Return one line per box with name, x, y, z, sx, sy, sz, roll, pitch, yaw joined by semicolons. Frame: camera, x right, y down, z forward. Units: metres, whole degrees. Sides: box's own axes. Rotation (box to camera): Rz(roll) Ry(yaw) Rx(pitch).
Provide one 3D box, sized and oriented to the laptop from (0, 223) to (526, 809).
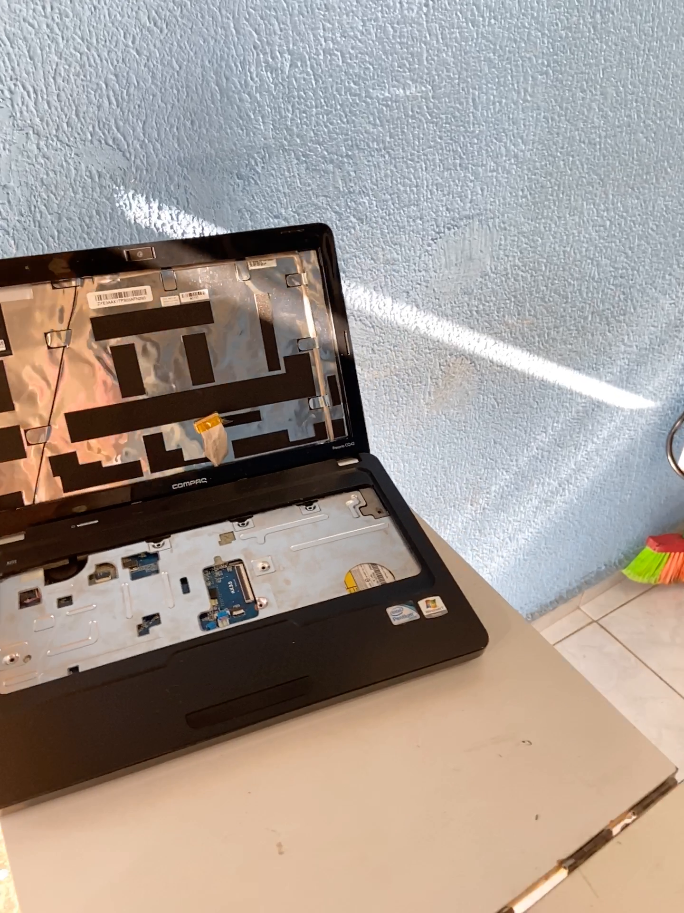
laptop;-0.109;-0.005;0.520;0.332;0.182;0.337;-13;40;-16
